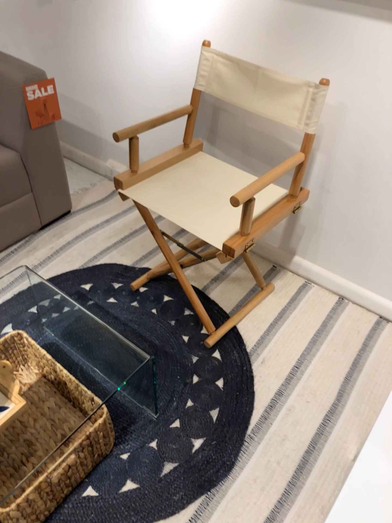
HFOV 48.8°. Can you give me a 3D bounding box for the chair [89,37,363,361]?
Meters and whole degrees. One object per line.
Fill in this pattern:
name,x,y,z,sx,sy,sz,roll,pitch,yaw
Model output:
chair,0.077,-0.225,1.478,0.541,0.794,0.563,32,49,28
